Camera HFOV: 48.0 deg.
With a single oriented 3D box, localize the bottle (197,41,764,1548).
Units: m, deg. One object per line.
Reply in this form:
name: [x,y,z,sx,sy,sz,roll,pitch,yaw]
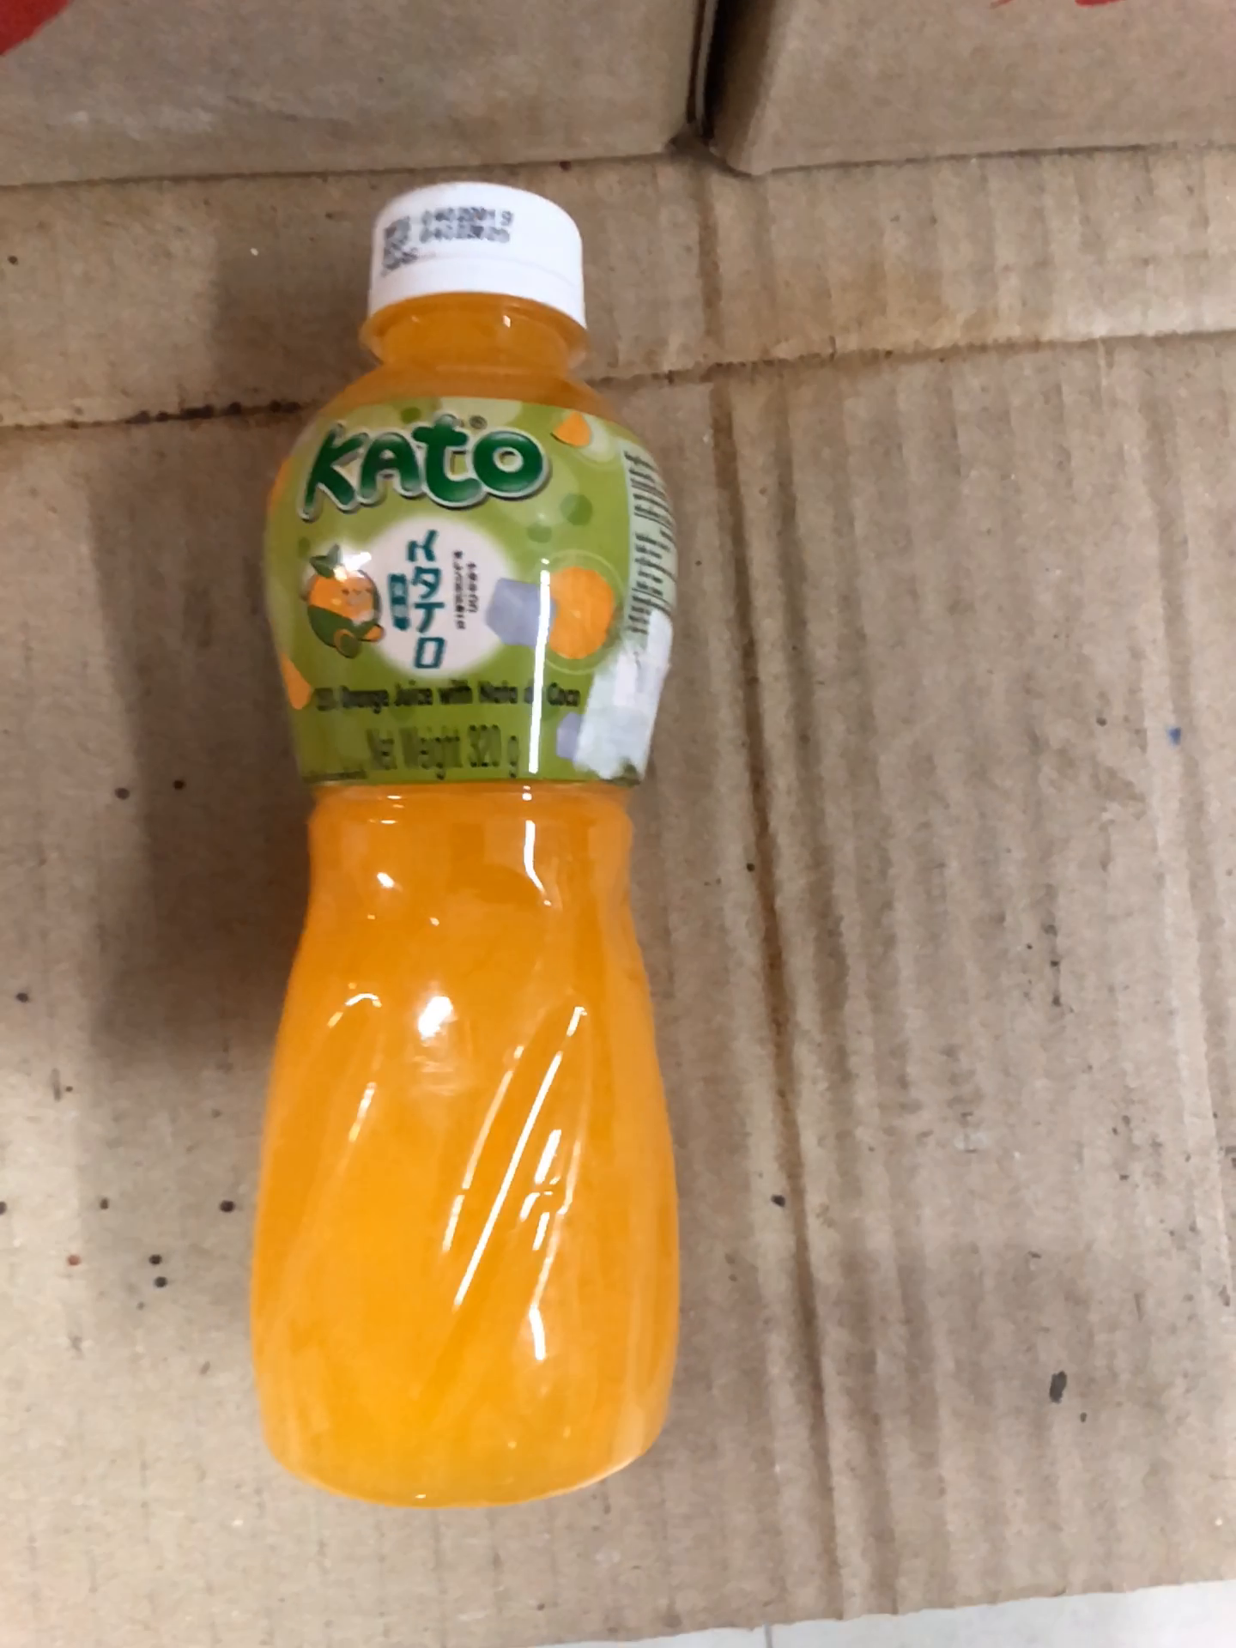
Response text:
bottle: [-0.017,-0.005,0.205,0.070,0.060,0.190,0,88,0]
